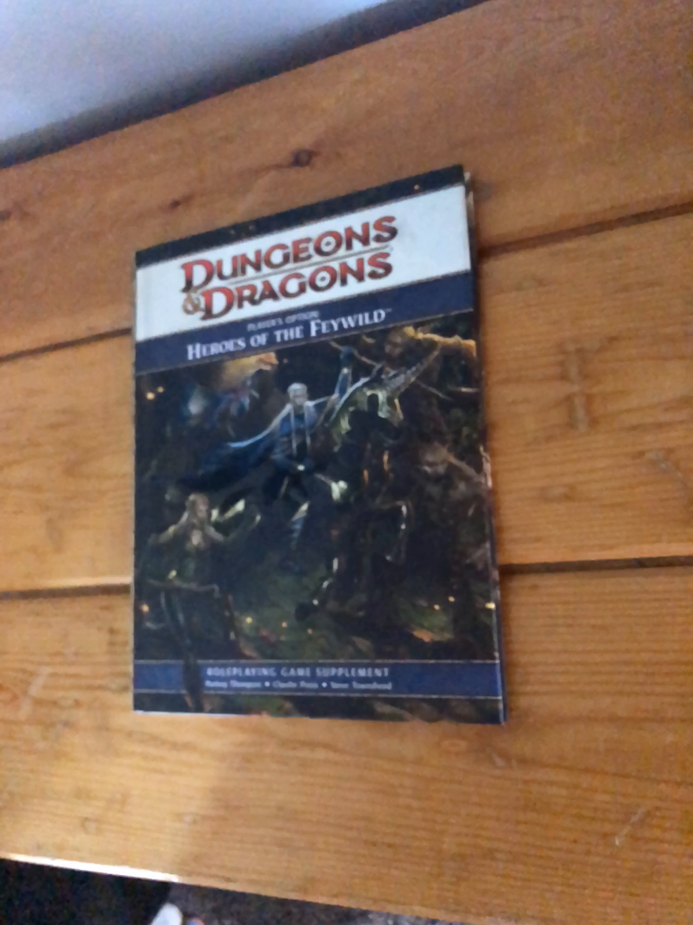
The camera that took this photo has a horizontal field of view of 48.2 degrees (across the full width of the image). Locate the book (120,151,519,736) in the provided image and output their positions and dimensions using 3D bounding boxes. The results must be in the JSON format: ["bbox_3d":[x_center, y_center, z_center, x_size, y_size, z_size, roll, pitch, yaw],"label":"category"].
[{"bbox_3d":[-0.030,-0.004,0.420,0.221,0.020,0.280,-6,81,25],"label":"book"}]
